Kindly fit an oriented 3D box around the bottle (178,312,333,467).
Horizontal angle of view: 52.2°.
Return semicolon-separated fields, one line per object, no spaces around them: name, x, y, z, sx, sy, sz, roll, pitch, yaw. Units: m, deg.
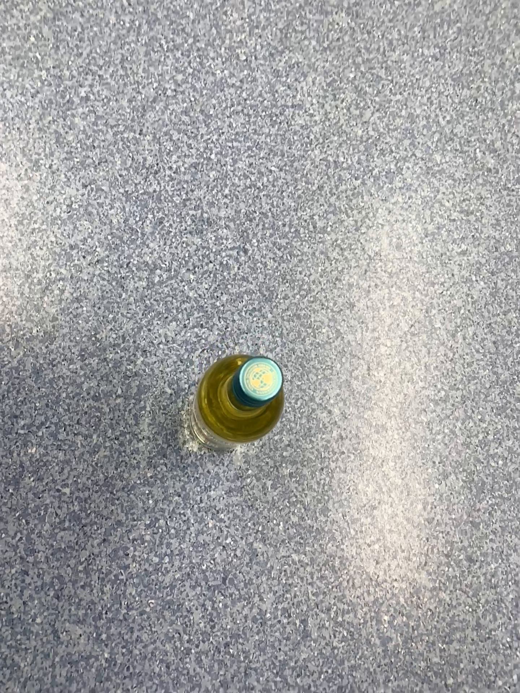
bottle;-0.025;0.058;0.474;0.065;0.307;0.071;2;77;-9
